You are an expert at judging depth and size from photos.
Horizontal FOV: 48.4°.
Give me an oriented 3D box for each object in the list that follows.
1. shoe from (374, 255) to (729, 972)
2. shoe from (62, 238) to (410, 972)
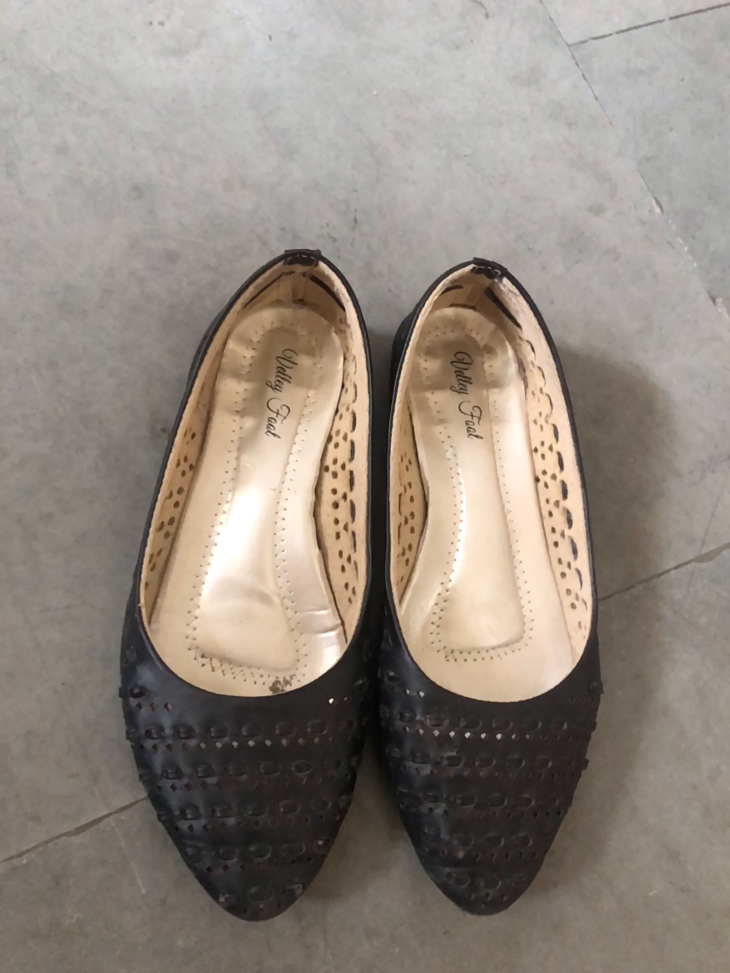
[{"bbox_3d":[0.059,0.040,0.314,0.095,0.073,0.242,1,73,-8],"label":"shoe"},{"bbox_3d":[-0.037,0.037,0.295,0.095,0.062,0.242,4,73,-7],"label":"shoe"}]
